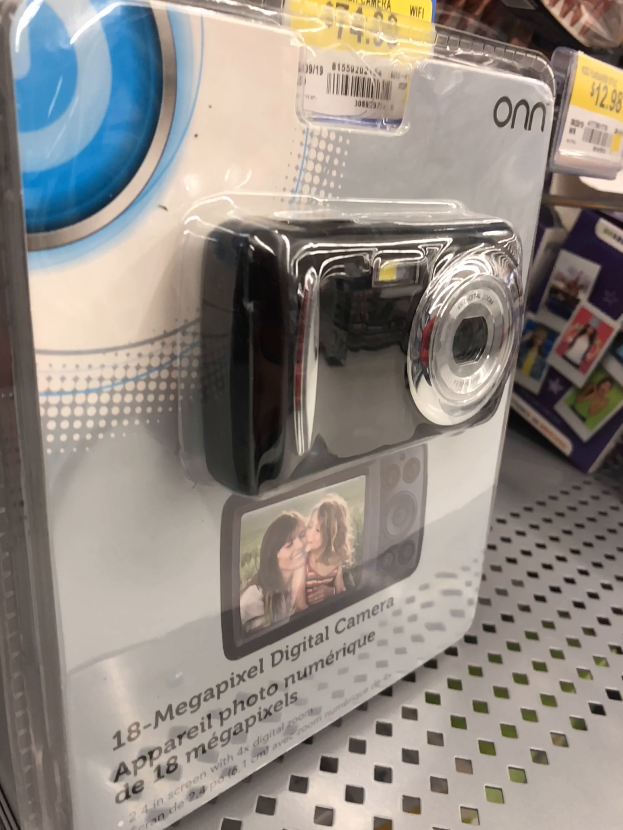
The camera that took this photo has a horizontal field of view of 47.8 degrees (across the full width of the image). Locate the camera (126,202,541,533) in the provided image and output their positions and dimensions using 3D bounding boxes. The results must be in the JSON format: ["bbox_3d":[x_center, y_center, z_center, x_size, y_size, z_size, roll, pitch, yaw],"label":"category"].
[{"bbox_3d":[0.009,-0.019,0.170,0.100,0.060,0.030,-14,27,-38],"label":"camera"}]
